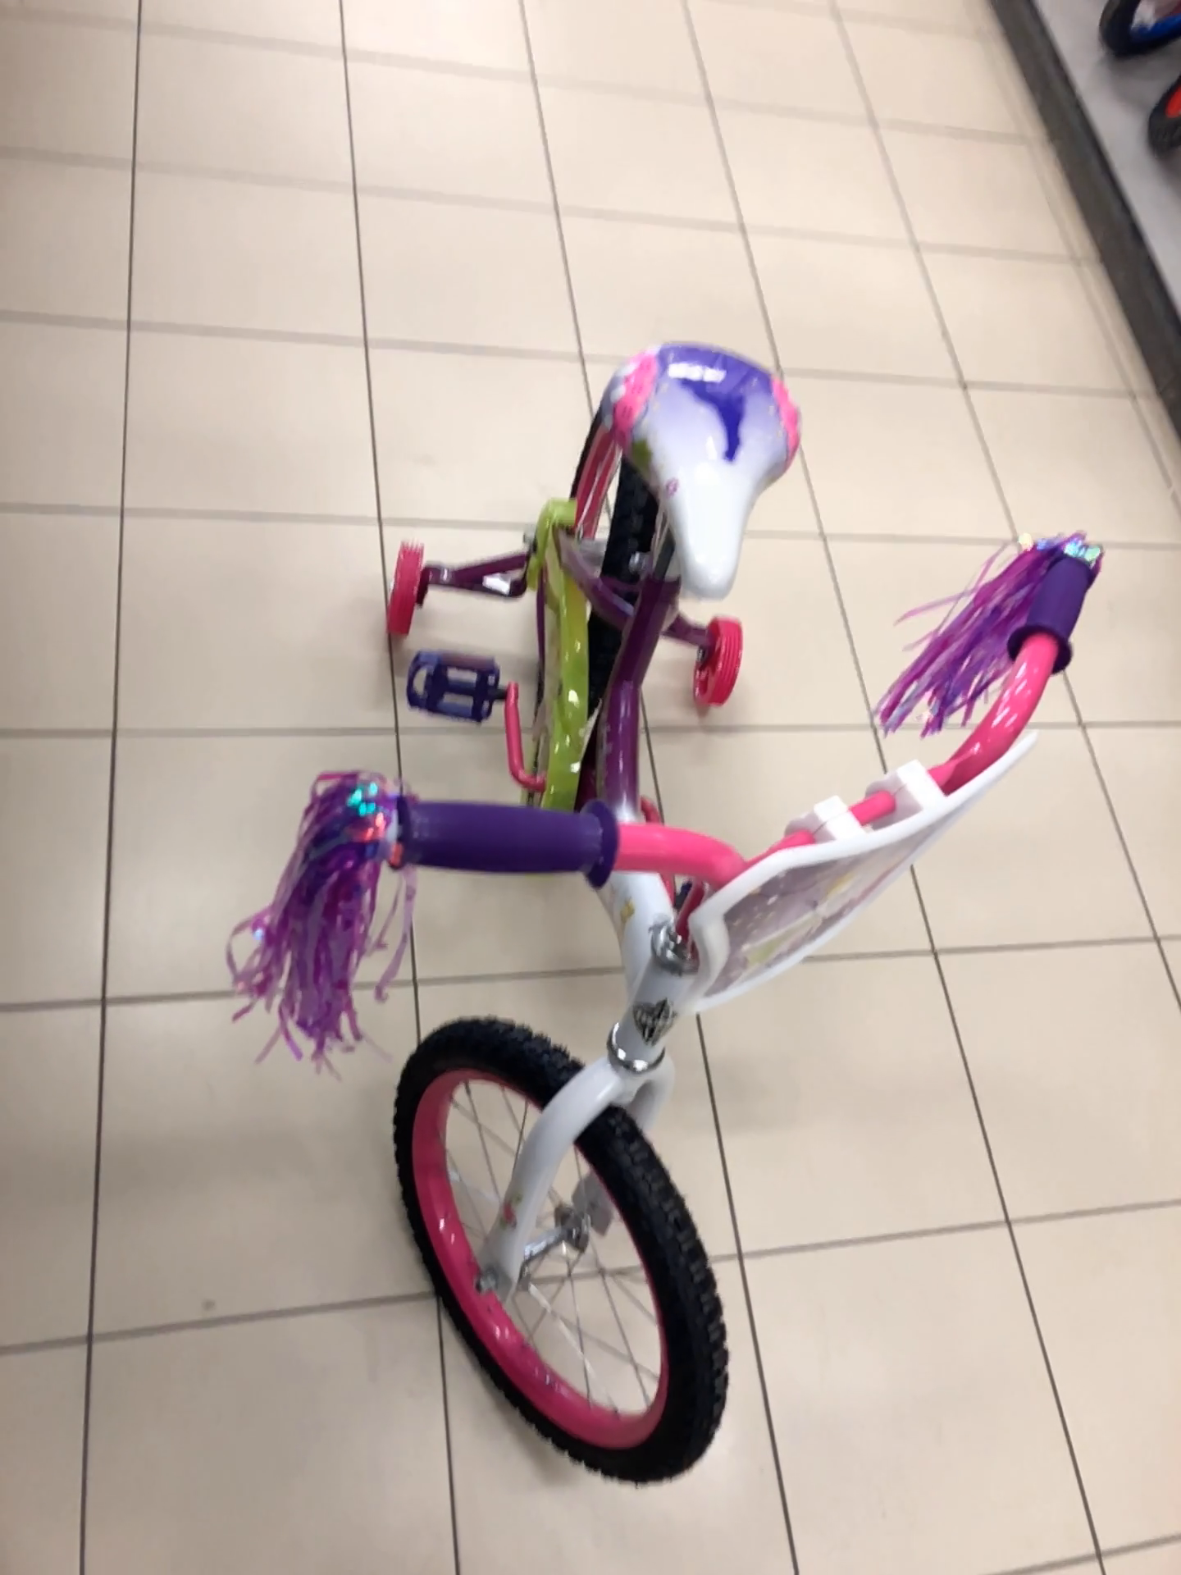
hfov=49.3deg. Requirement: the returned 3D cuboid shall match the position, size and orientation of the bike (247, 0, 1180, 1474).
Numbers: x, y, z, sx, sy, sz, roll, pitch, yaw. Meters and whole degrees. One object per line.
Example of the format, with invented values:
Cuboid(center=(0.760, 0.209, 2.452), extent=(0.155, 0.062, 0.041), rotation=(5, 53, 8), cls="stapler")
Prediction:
Cuboid(center=(0.076, -0.061, 1.037), extent=(0.595, 0.810, 1.070), rotation=(5, 62, -13), cls="bike")
